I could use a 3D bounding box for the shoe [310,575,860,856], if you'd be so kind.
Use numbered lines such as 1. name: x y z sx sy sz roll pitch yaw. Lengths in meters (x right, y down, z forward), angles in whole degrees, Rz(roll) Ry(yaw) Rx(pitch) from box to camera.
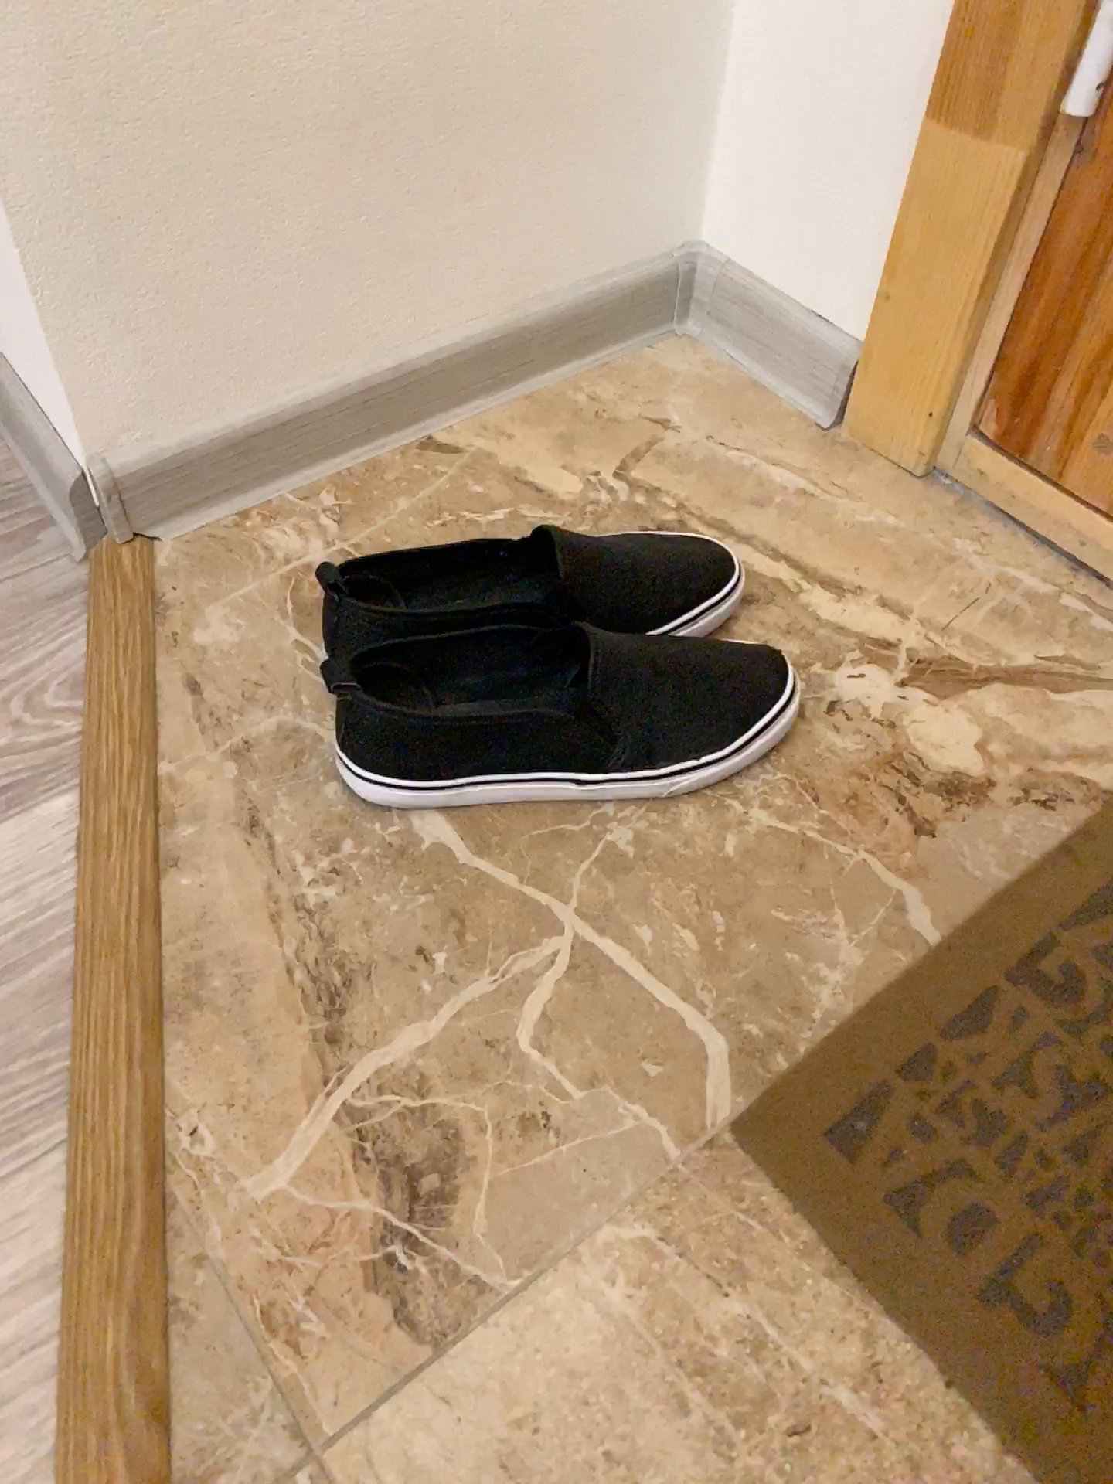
1. shoe: 0.011 -0.016 0.569 0.250 0.060 0.090 -8 51 -10

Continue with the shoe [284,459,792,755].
1. shoe: -0.009 -0.078 0.619 0.250 0.060 0.090 -16 52 -16
